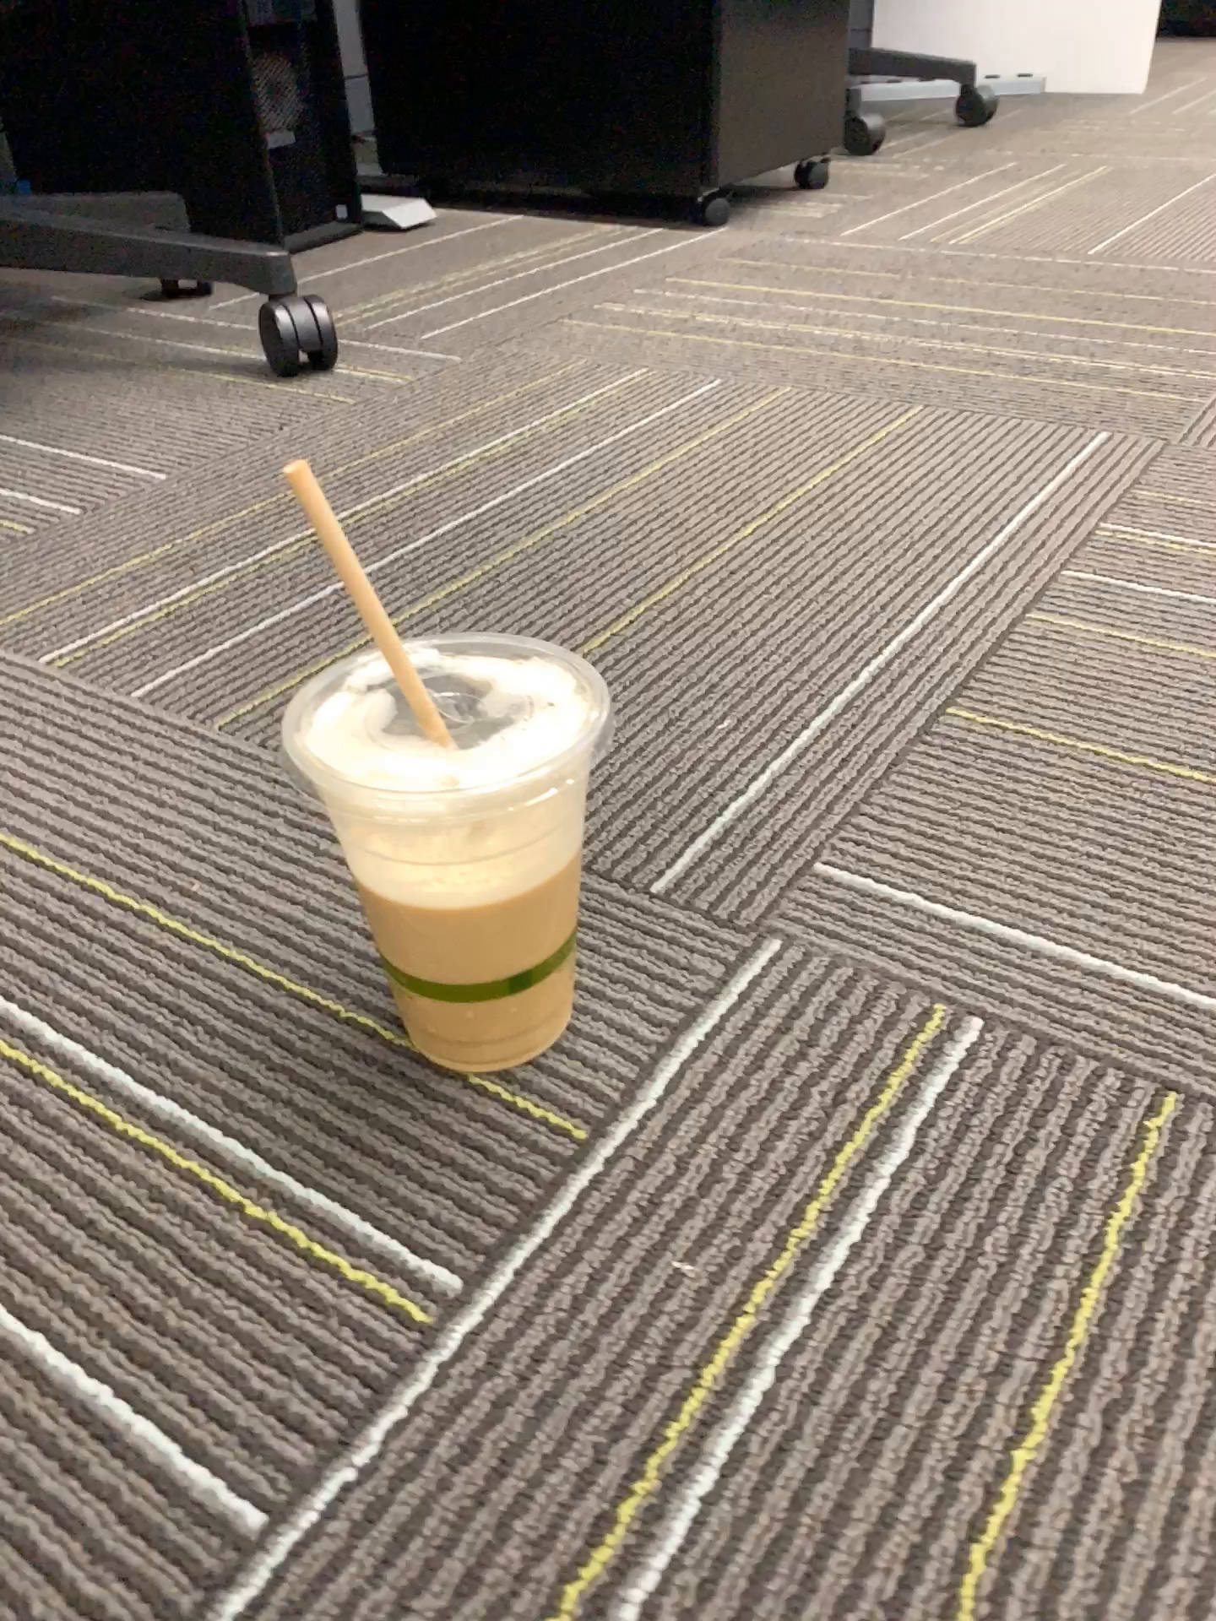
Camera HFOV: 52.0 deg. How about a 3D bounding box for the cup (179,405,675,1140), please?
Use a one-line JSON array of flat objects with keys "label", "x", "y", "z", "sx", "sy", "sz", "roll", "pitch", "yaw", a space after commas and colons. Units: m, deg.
[{"label": "cup", "x": -0.048, "y": -0.012, "z": 0.376, "sx": 0.100, "sy": 0.179, "sz": 0.091, "roll": -19, "pitch": 37, "yaw": -21}]
